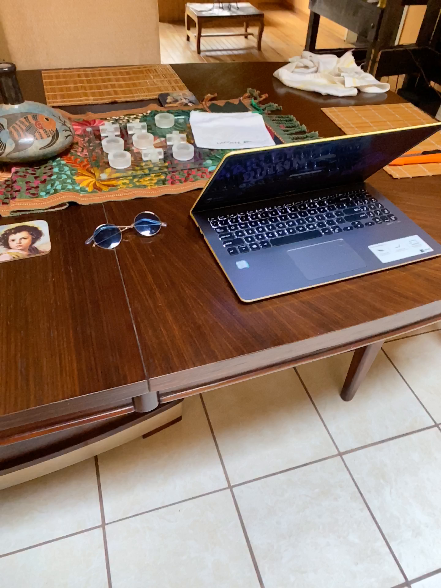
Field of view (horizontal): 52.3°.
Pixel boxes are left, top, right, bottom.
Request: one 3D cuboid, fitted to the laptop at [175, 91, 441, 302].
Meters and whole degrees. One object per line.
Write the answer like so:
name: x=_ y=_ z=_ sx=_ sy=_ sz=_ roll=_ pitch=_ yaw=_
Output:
laptop: x=0.145 y=-0.178 z=0.735 sx=0.377 sy=0.181 sz=0.251 roll=-13 pitch=46 yaw=-18
